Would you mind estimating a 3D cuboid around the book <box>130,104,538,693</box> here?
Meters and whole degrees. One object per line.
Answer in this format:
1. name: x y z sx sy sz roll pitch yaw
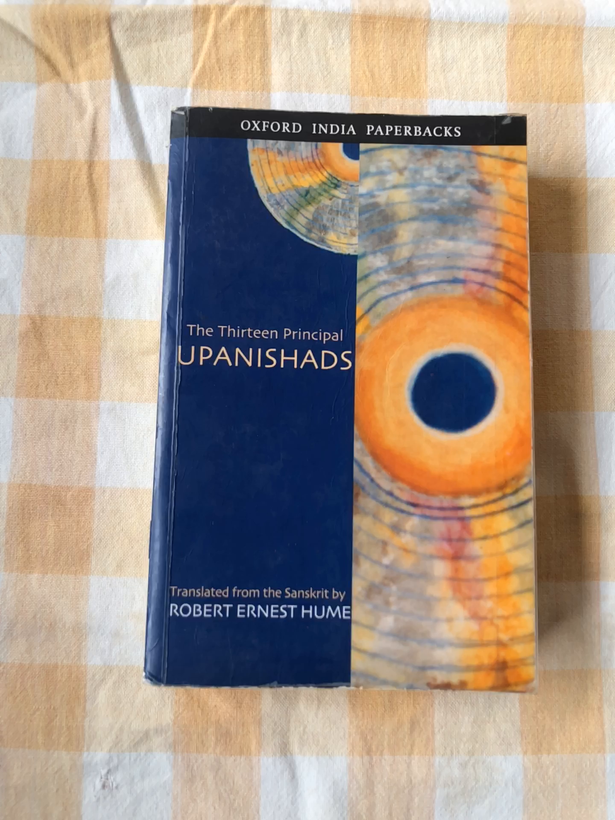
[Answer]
1. book: 0.011 -0.006 0.264 0.140 0.040 0.210 1 84 -2
